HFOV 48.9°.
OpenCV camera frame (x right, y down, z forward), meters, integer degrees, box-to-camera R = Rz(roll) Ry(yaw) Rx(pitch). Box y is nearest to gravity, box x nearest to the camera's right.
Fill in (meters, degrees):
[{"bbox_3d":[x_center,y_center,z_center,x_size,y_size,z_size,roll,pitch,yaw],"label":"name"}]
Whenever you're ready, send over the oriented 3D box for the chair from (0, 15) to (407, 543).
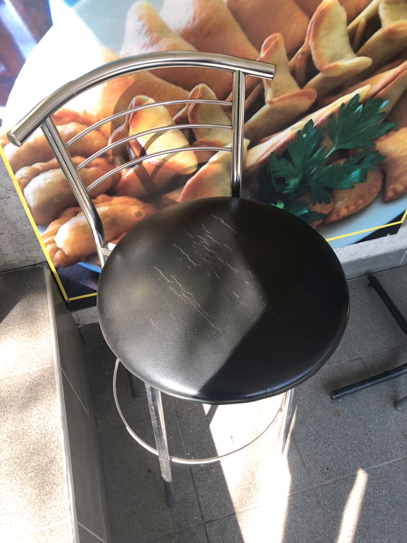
[{"bbox_3d":[-0.003,0.128,0.893,0.480,0.937,0.481,-20,55,-15],"label":"chair"}]
